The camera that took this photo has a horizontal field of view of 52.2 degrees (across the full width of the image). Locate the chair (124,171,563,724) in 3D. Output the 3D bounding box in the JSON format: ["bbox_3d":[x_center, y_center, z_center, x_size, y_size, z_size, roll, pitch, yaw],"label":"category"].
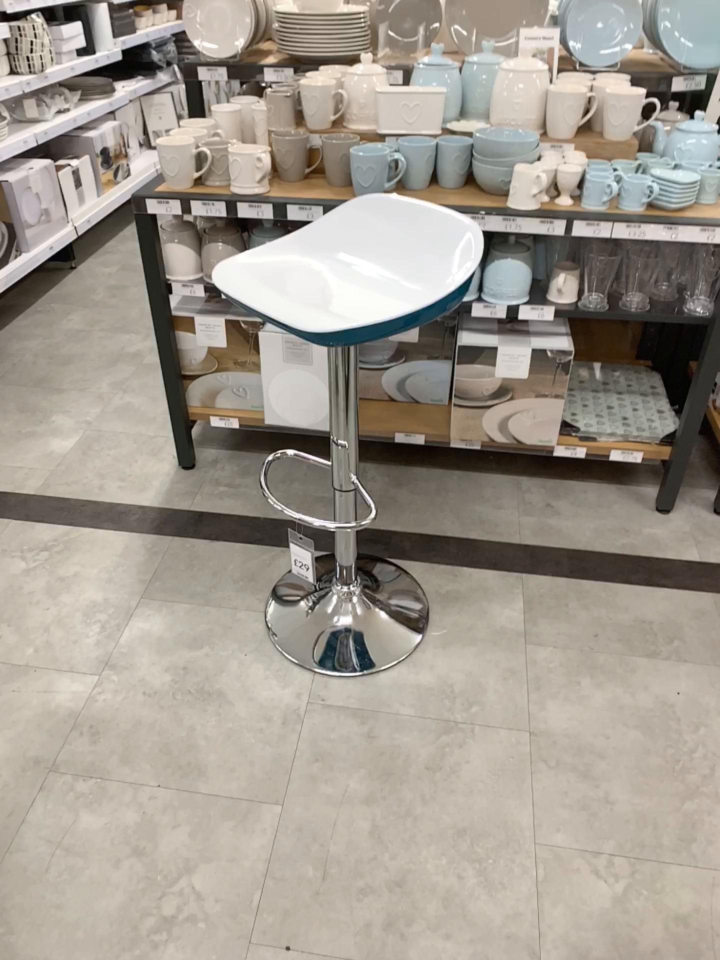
[{"bbox_3d":[-0.030,-0.081,1.376,0.471,0.775,0.505,-30,46,-35],"label":"chair"}]
